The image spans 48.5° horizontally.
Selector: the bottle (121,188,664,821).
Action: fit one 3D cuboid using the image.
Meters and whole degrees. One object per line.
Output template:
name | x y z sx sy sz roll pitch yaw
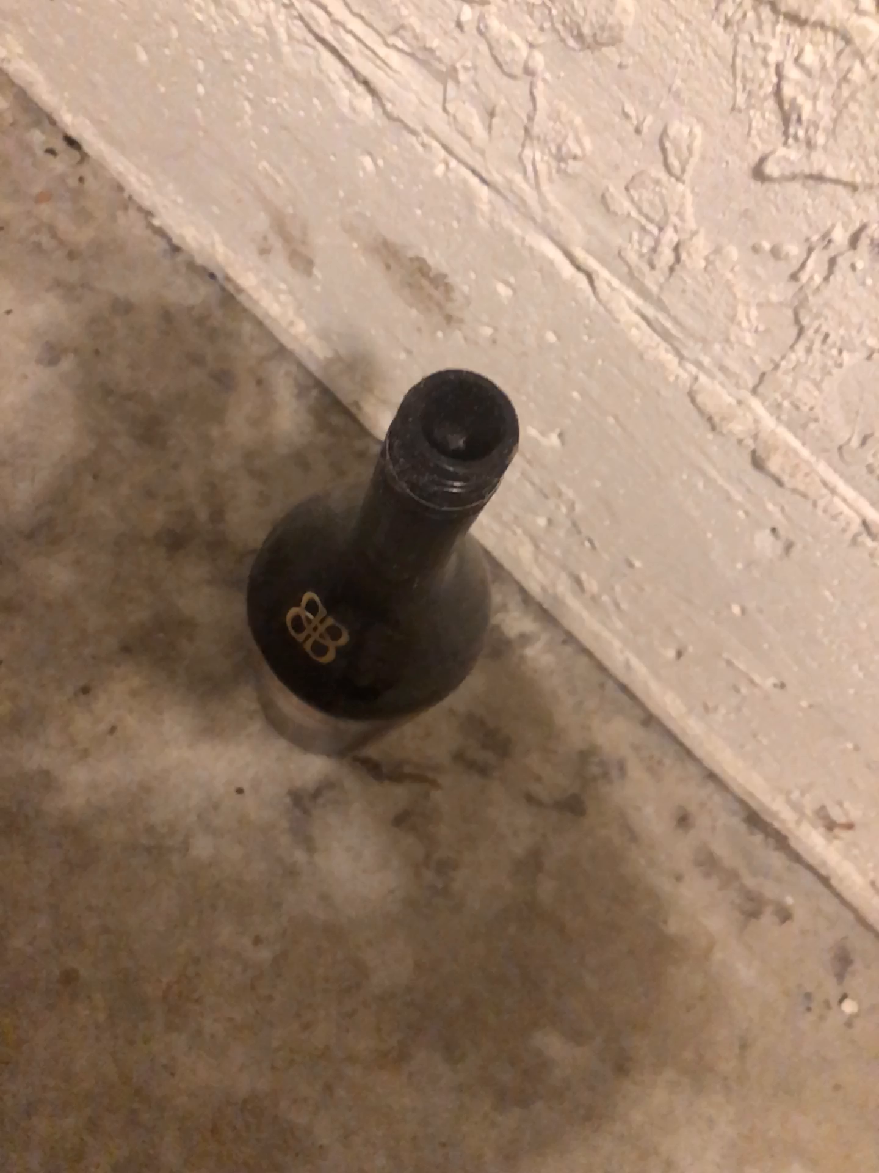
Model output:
bottle | -0.031 0.004 0.333 0.080 0.259 0.090 -40 82 -21
